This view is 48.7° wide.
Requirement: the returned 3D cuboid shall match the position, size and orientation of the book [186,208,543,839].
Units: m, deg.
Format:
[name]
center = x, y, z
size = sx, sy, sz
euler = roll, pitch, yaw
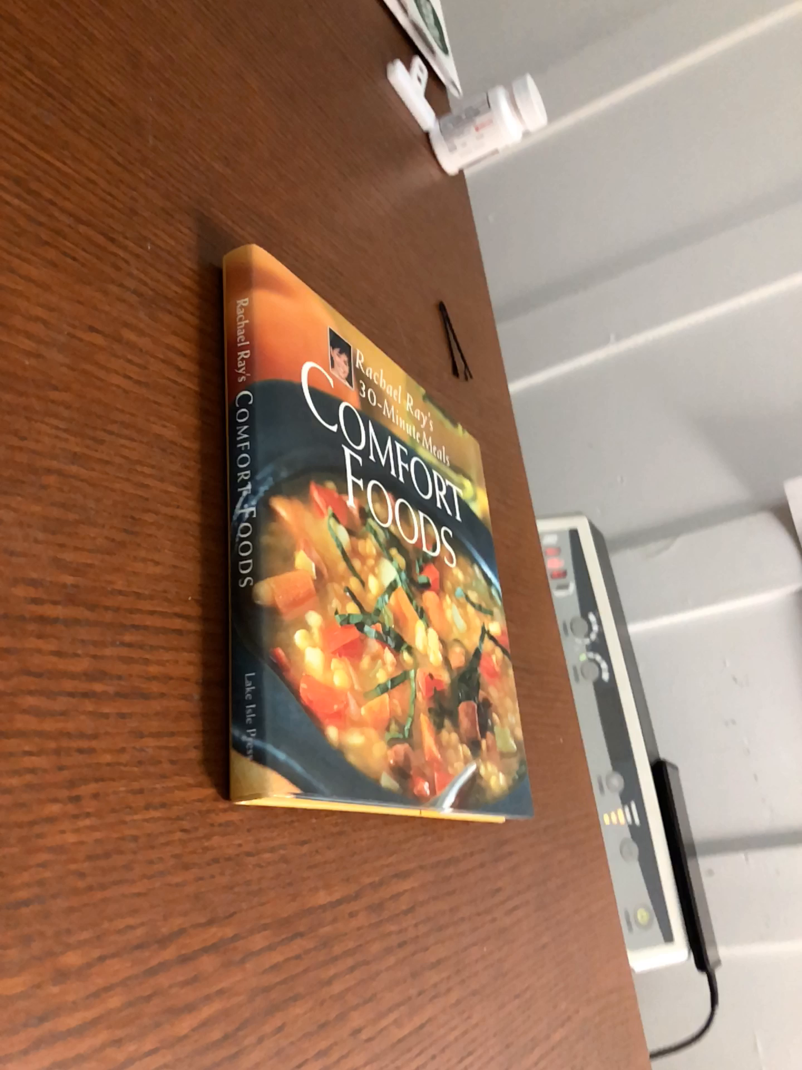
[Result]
[book]
center = -0.008, 0.012, 0.368
size = 0.201, 0.030, 0.210
euler = 31, 47, -55
